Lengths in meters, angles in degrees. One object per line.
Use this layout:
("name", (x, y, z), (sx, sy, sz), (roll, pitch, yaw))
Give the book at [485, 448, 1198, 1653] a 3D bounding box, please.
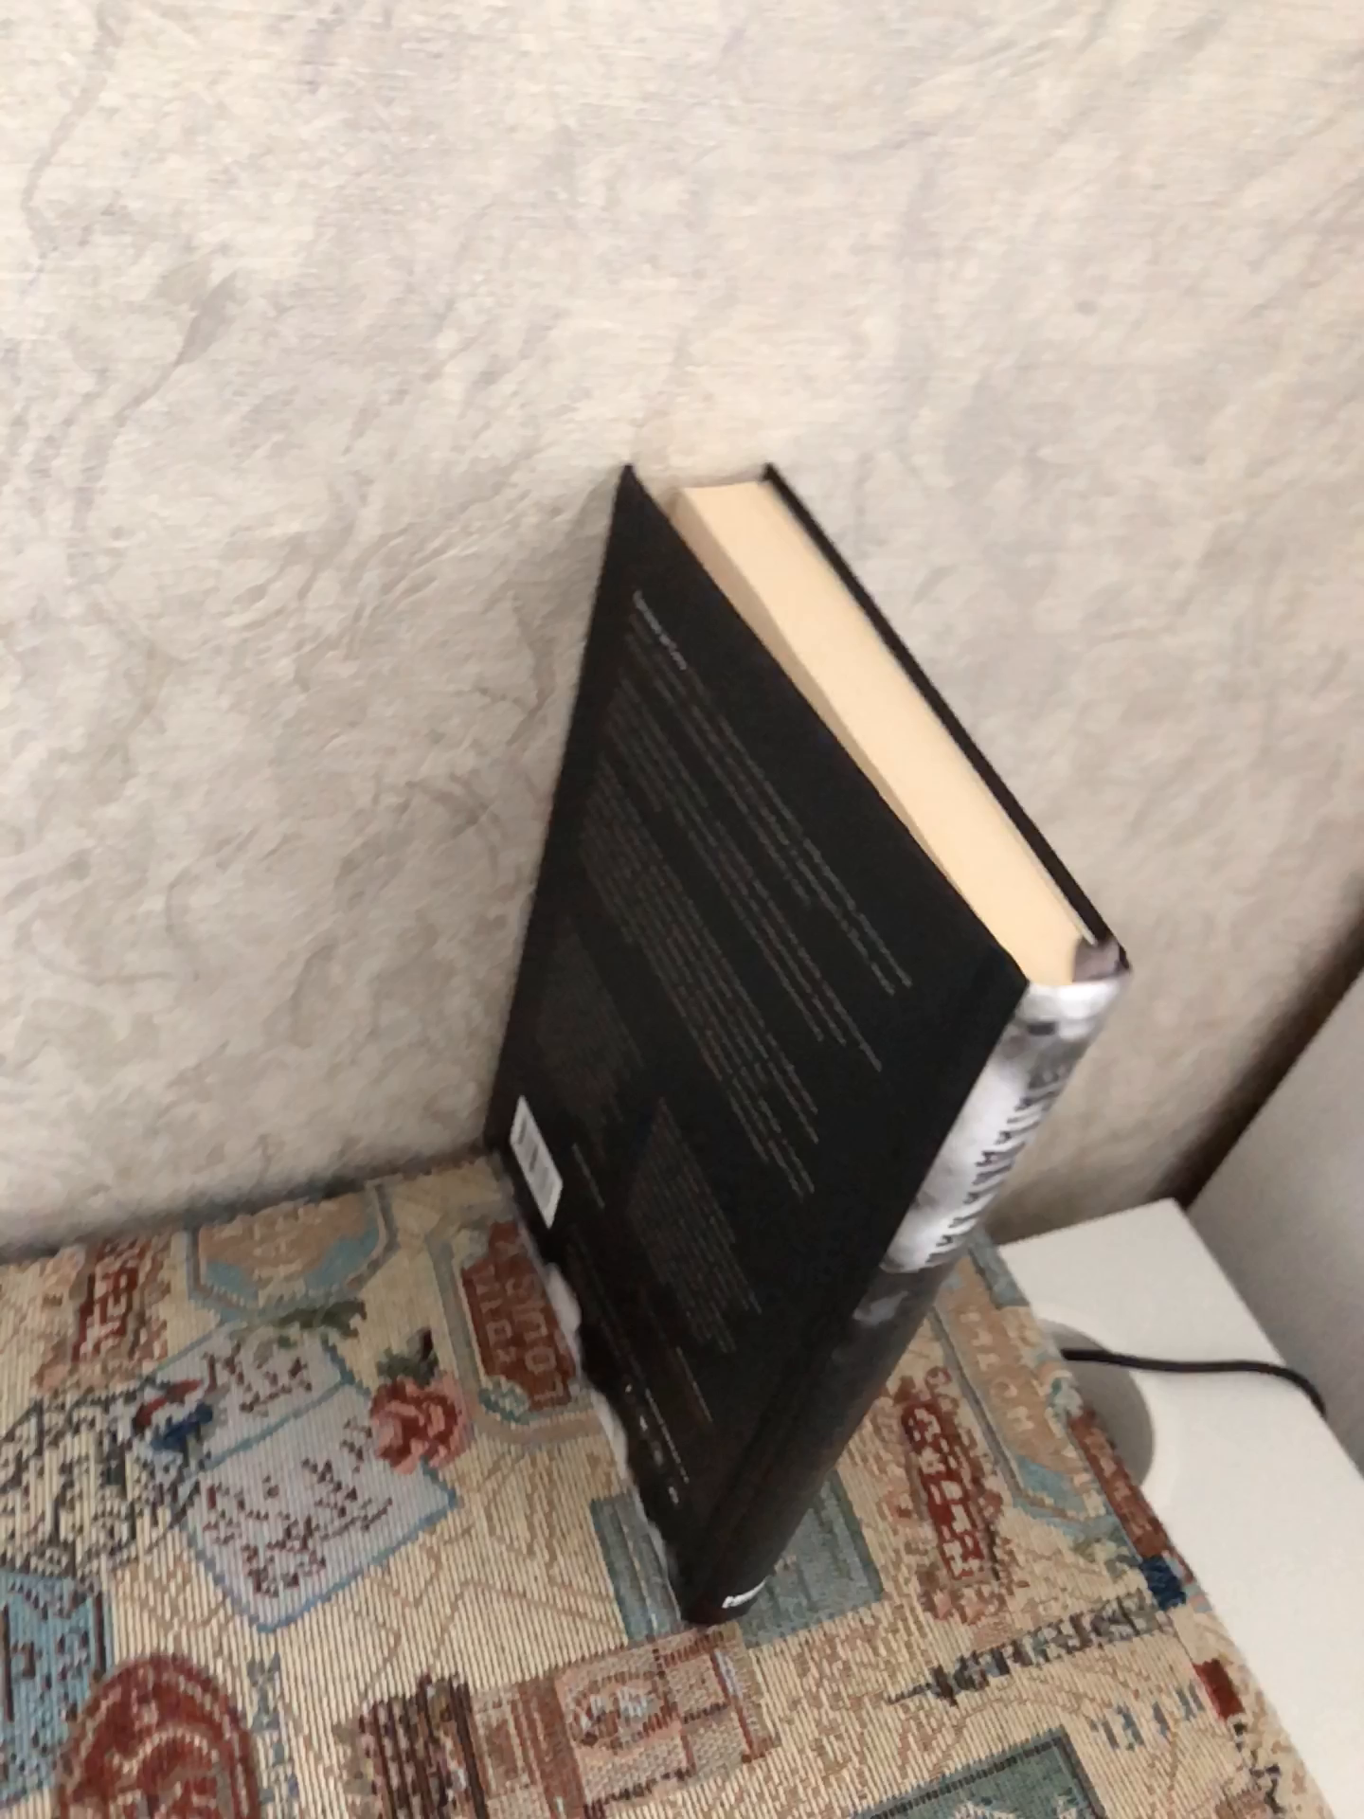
("book", (0.007, 0.036, 0.300), (0.035, 0.200, 0.138), (-5, 47, -22))
